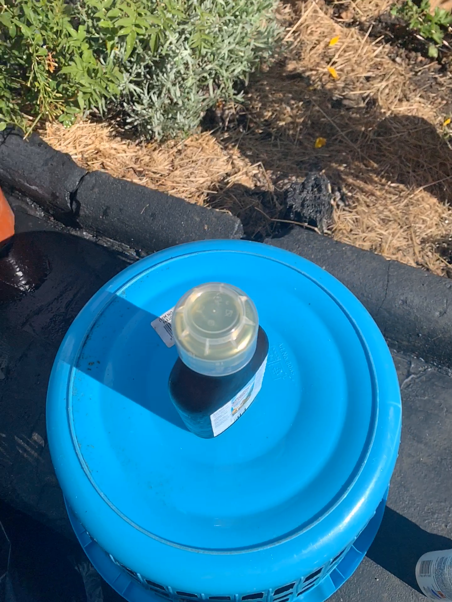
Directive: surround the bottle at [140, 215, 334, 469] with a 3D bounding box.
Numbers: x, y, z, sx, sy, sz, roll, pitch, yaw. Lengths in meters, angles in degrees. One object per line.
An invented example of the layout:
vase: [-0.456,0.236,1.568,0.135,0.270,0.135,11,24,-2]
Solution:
bottle: [0.004,0.044,0.305,0.050,0.199,0.080,40,67,19]
